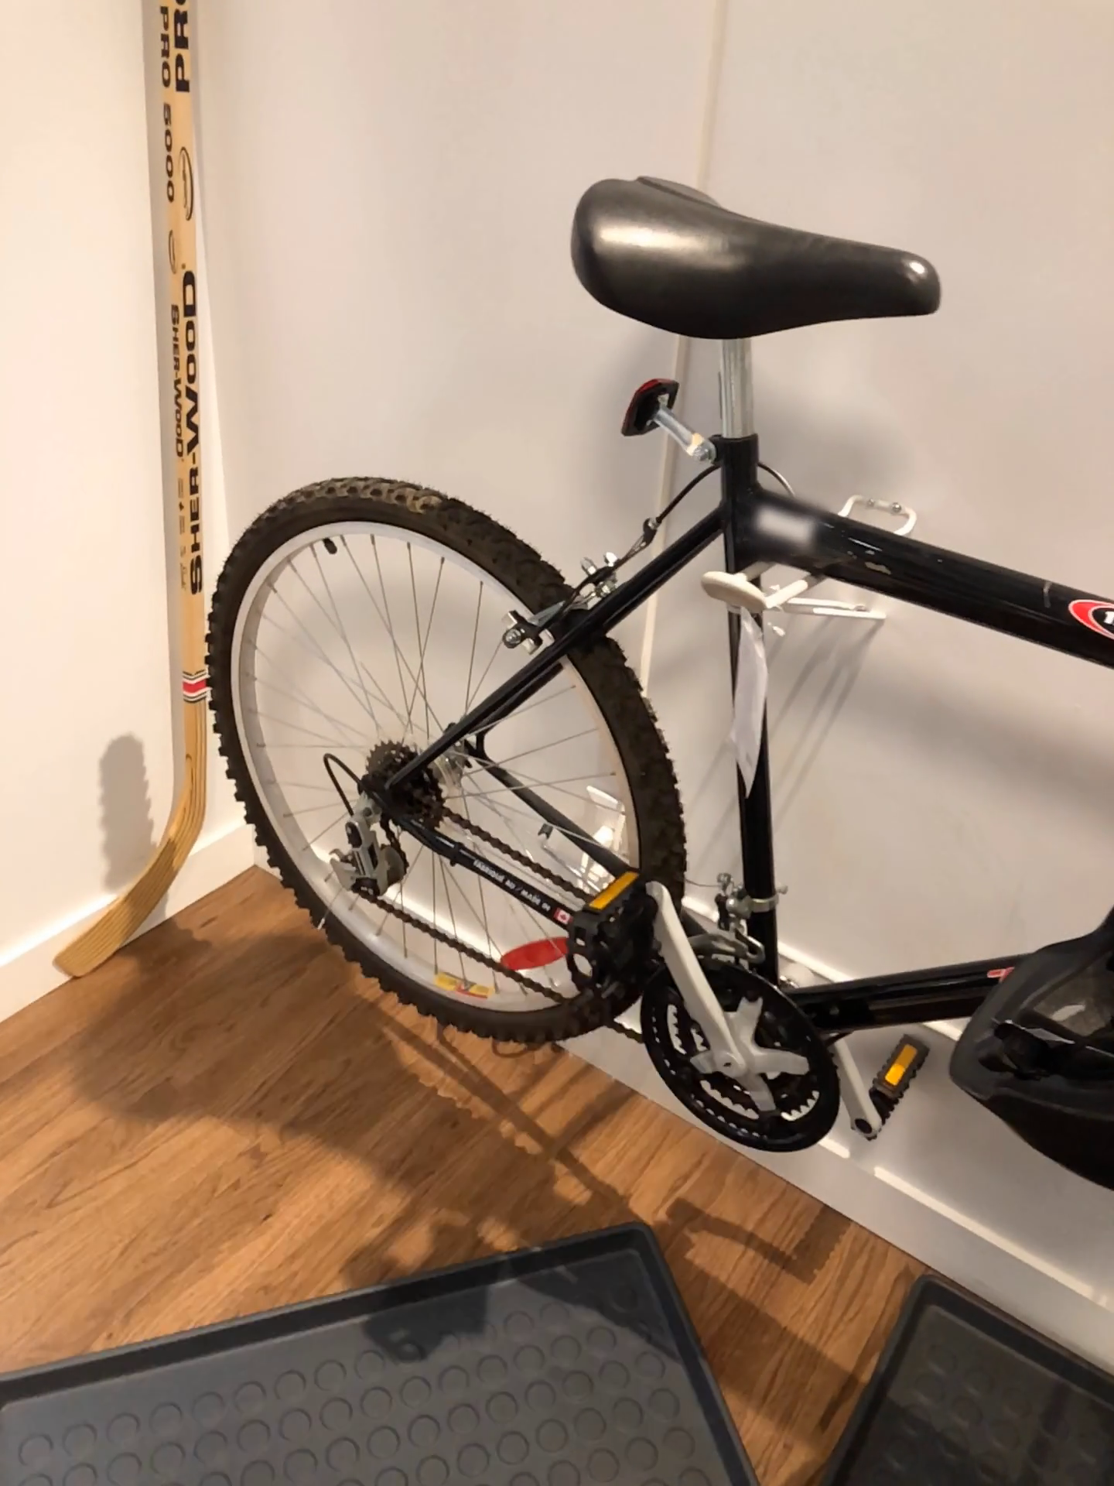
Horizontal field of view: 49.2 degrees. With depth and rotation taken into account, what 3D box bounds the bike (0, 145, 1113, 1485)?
[{"bbox_3d":[0.206,0.188,1.009,1.572,0.845,0.559,34,41,31],"label":"bike"}]
